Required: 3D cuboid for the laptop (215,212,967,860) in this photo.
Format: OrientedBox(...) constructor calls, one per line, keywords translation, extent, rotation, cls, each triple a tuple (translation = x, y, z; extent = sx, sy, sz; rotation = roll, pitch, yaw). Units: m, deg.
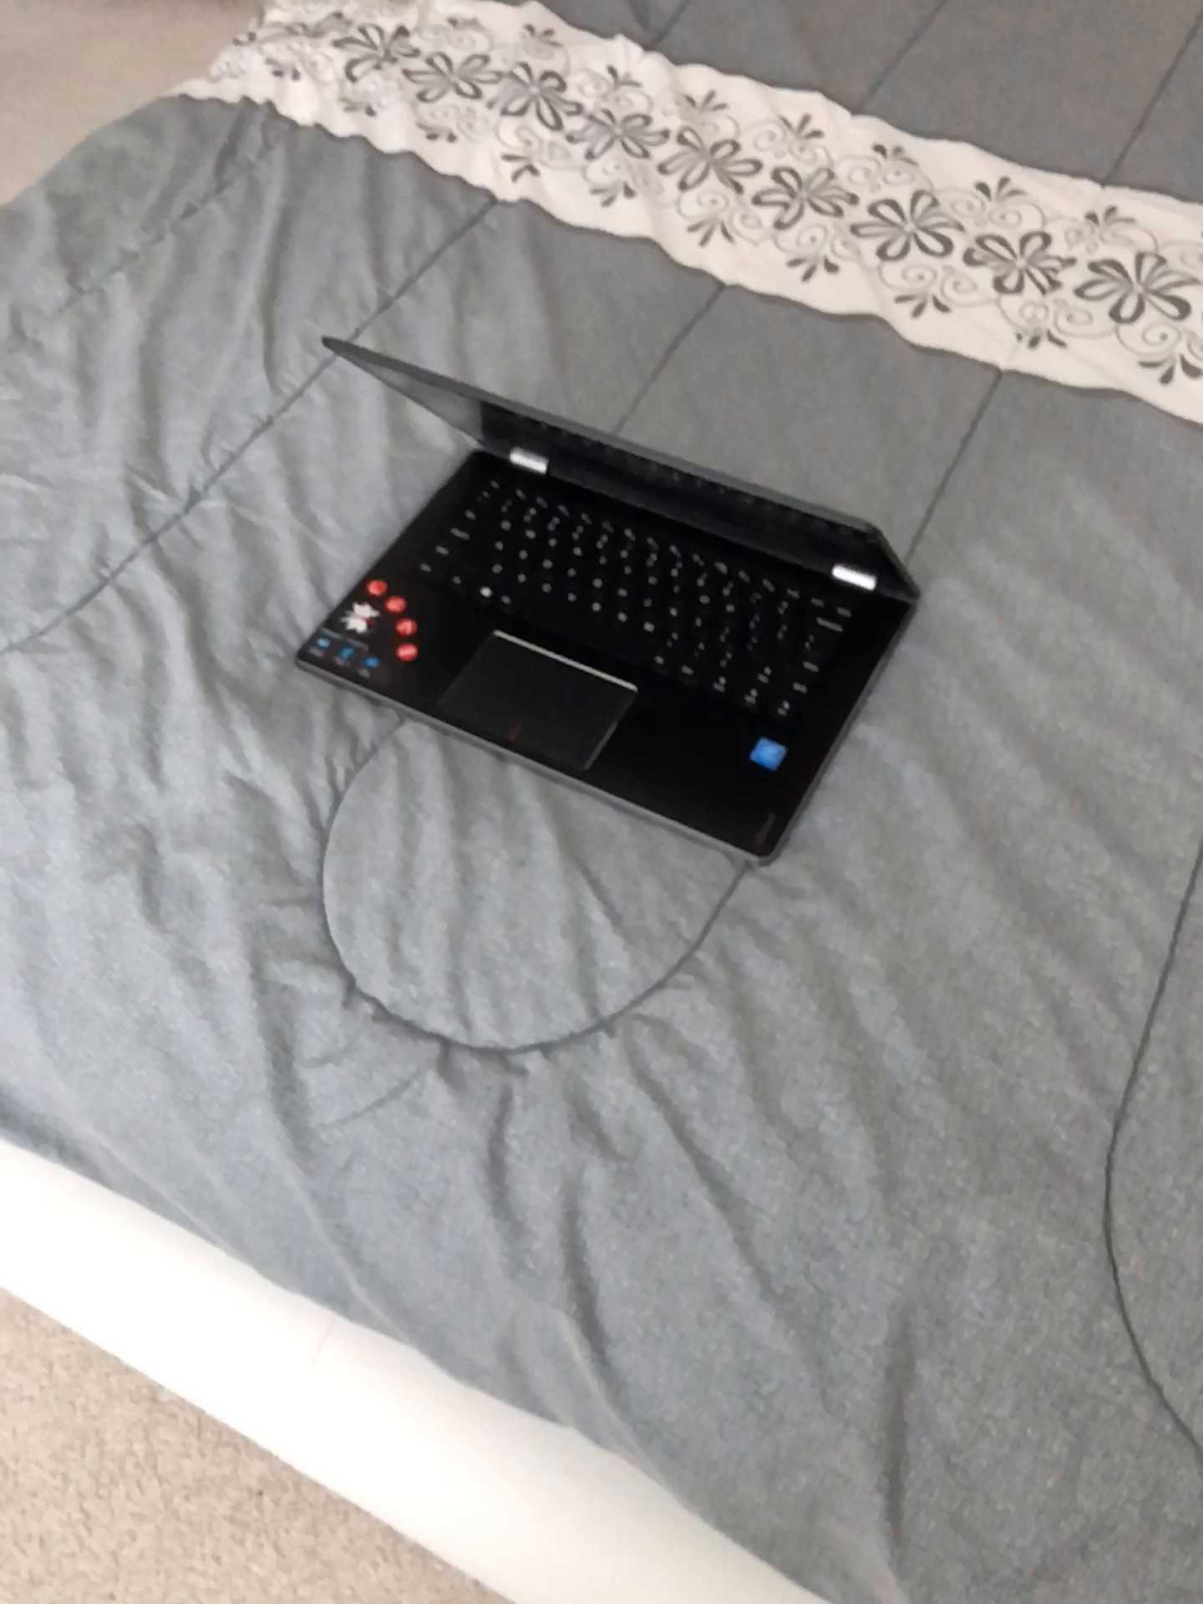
OrientedBox(translation=(0.001, -0.152, 0.729), extent=(0.305, 0.167, 0.215), rotation=(24, 59, 17), cls="laptop")
